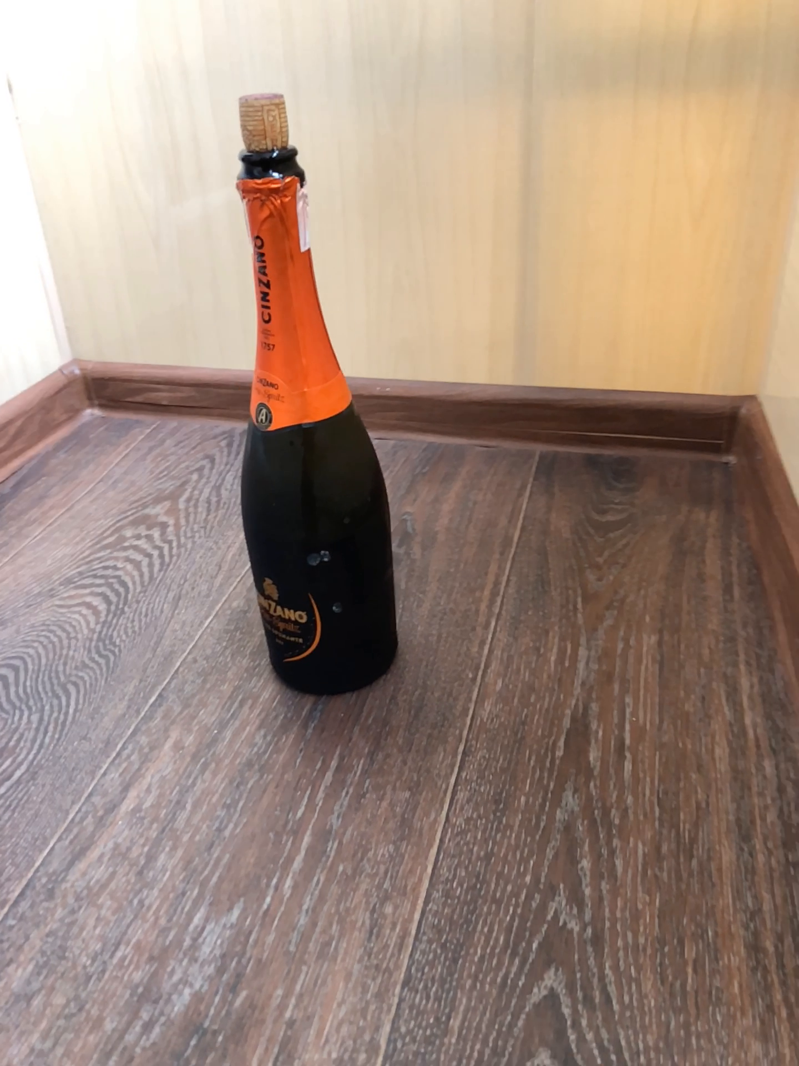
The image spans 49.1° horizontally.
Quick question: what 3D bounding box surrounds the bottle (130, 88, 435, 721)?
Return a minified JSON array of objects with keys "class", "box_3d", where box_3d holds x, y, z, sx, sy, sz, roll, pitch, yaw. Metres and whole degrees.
[{"class":"bottle","box_3d":[-0.051,-0.064,0.496,0.093,0.328,0.100,-2,30,1]}]
